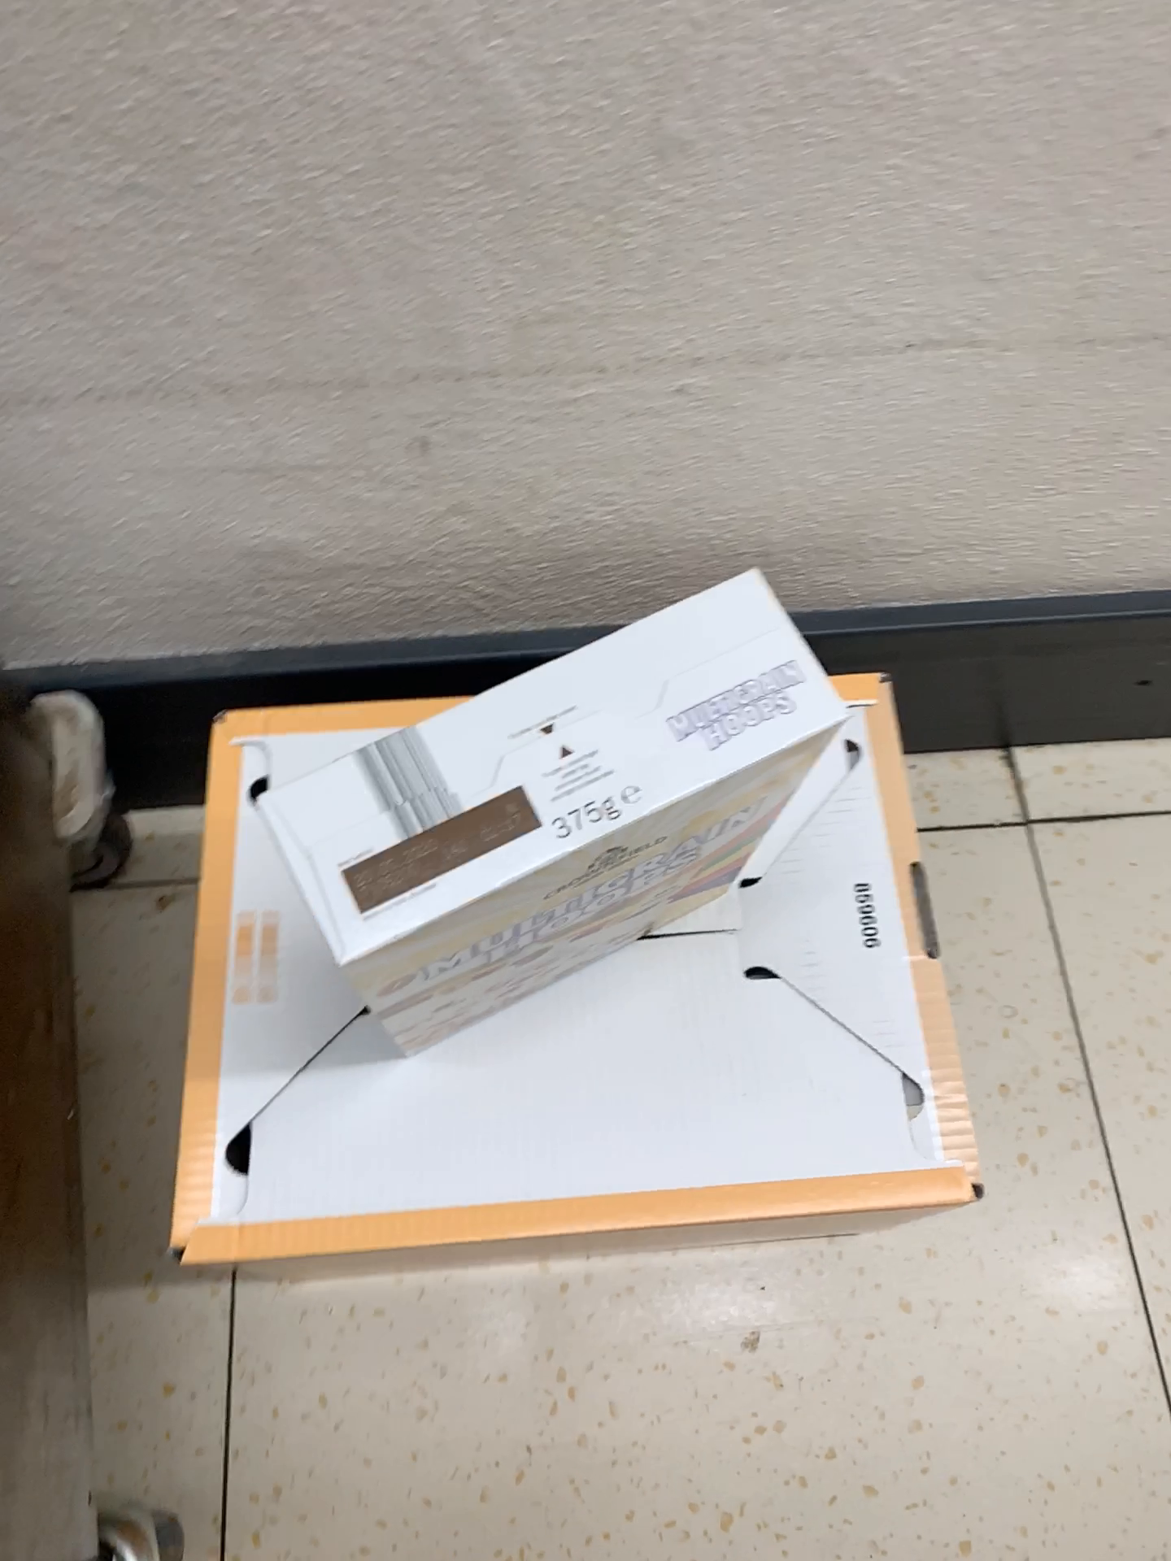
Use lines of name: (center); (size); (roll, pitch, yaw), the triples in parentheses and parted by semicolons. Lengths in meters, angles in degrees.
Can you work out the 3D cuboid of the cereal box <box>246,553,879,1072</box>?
cereal box: (-0.012, 0.032, 0.514); (0.200, 0.249, 0.070); (-26, 74, -12)
